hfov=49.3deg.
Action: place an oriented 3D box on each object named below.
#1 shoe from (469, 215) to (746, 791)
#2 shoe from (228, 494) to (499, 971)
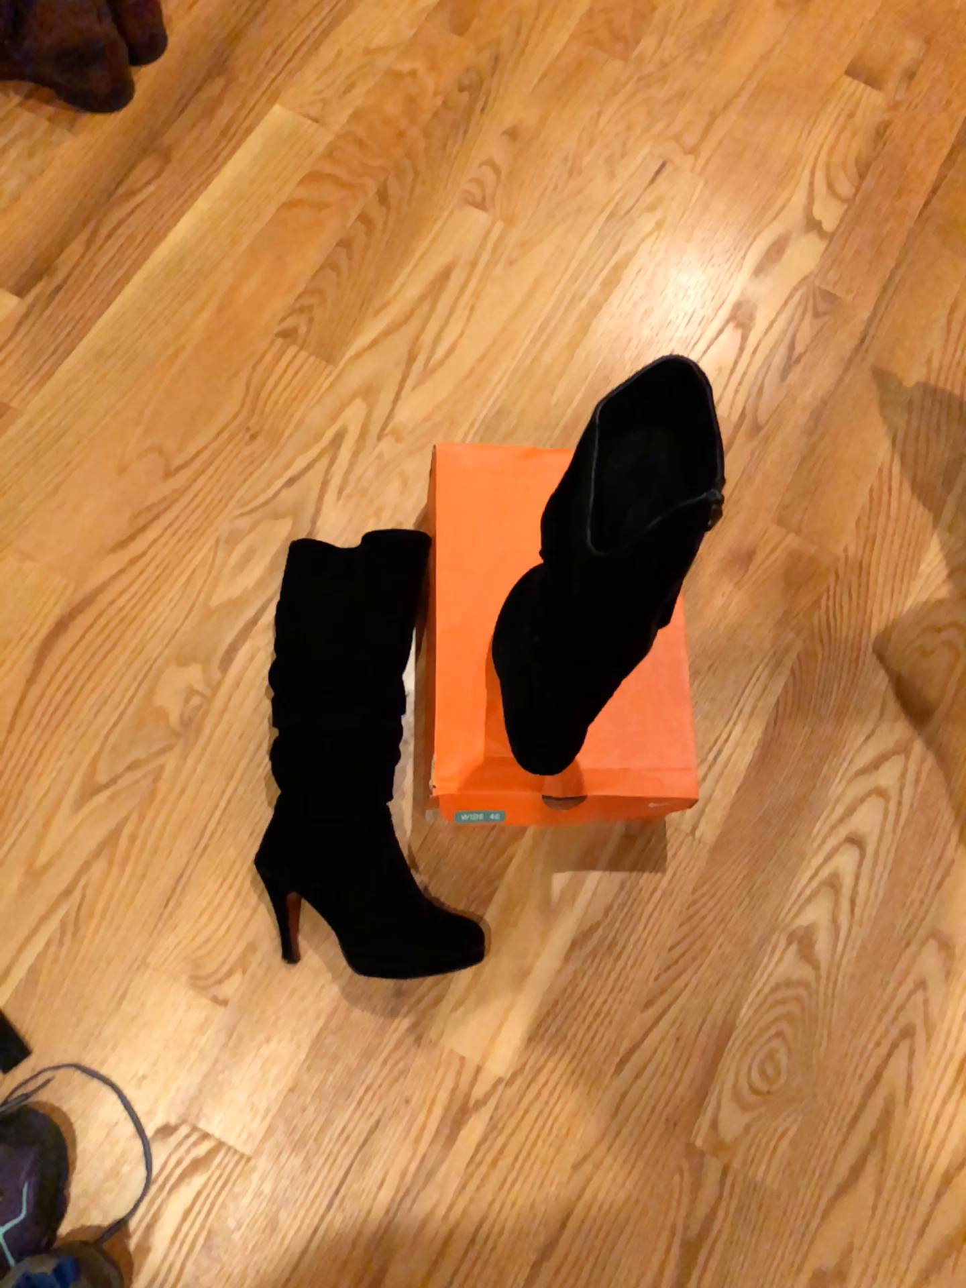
[{"bbox_3d":[0.062,-0.052,0.702,0.089,0.398,0.217,6,70,-5],"label":"shoe"},{"bbox_3d":[-0.099,0.071,0.913,0.206,0.089,0.400,0,70,-5],"label":"shoe"}]
